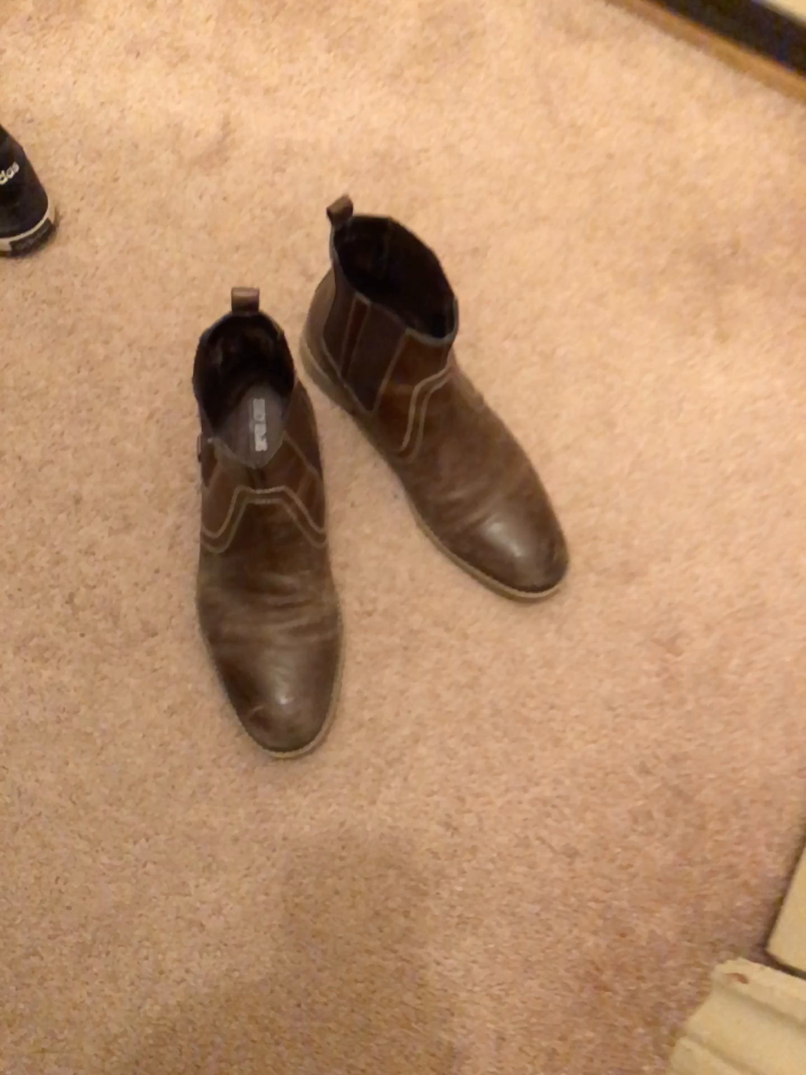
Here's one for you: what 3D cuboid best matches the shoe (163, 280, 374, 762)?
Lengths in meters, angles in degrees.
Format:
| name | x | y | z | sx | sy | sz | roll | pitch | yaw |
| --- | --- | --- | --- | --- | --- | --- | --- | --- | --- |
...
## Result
| name | x | y | z | sx | sy | sz | roll | pitch | yaw |
| --- | --- | --- | --- | --- | --- | --- | --- | --- | --- |
| shoe | -0.094 | -0.004 | 0.621 | 0.118 | 0.159 | 0.298 | -3 | 74 | -6 |

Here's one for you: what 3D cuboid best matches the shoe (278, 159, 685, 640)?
| name | x | y | z | sx | sy | sz | roll | pitch | yaw |
| --- | --- | --- | --- | --- | --- | --- | --- | --- | --- |
| shoe | 0.041 | -0.093 | 0.661 | 0.119 | 0.159 | 0.298 | -32 | 79 | -13 |
